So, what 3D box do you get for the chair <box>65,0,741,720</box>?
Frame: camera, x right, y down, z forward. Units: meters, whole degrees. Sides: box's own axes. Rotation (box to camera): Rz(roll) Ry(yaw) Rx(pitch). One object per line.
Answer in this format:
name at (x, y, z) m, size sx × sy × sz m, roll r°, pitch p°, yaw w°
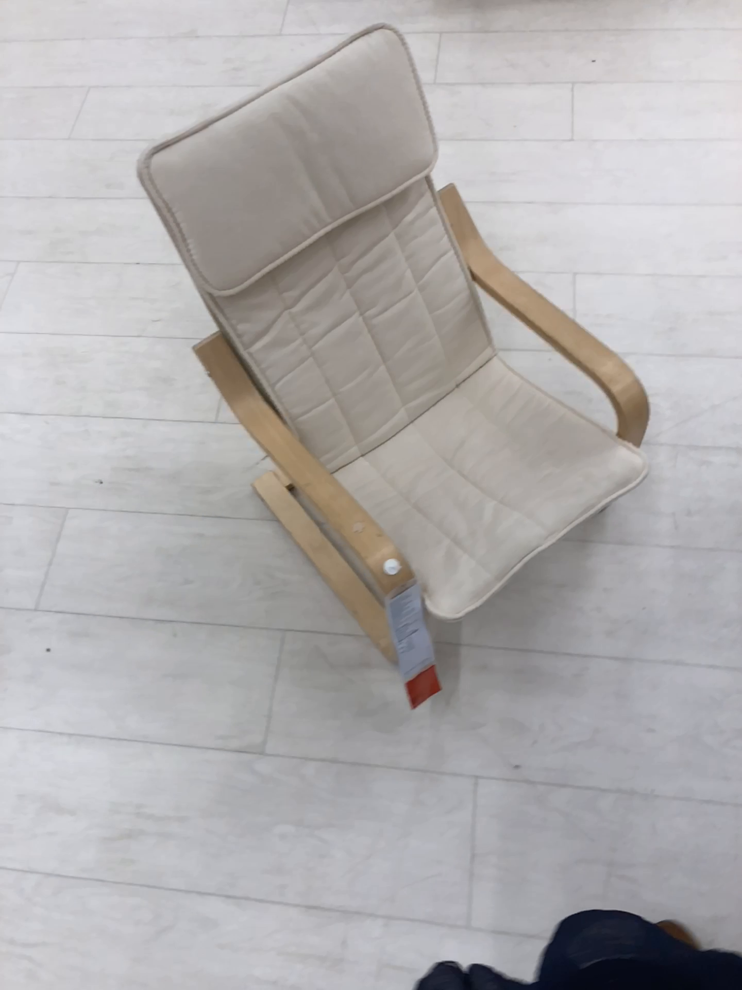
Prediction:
chair at (0.072, -0.155, 1.146) m, size 0.530 × 0.689 × 0.561 m, roll -36°, pitch 64°, yaw -14°
